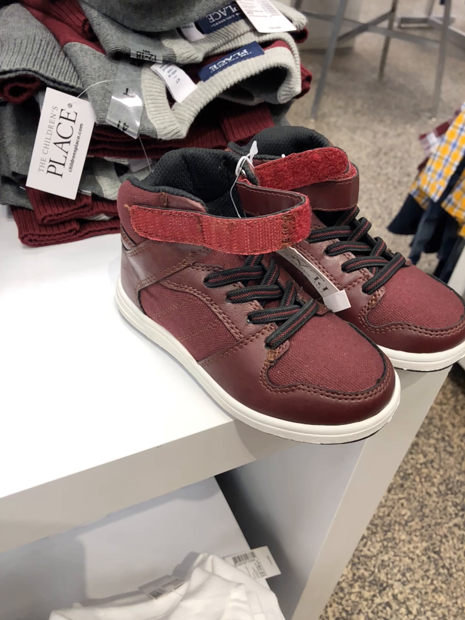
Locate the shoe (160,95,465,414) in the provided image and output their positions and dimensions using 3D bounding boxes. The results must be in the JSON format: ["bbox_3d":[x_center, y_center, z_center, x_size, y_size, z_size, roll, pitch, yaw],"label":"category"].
[{"bbox_3d":[0.051,-0.042,0.311,0.180,0.100,0.080,31,48,25],"label":"shoe"}]

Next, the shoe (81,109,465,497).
[{"bbox_3d":[0.015,-0.011,0.244,0.160,0.100,0.070,31,48,25],"label":"shoe"}]
